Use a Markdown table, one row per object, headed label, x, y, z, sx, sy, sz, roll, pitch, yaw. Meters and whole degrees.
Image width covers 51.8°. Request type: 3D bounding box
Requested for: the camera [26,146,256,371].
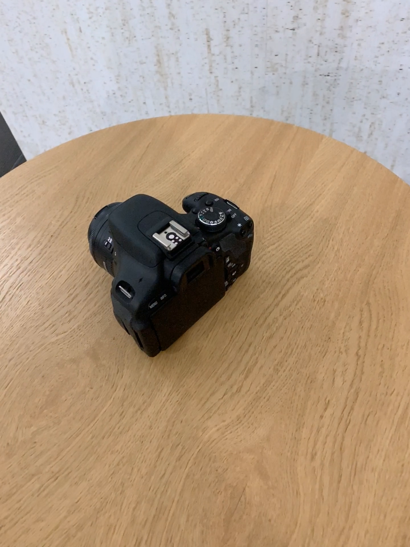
| label | x | y | z | sx | sy | sz | roll | pitch | yaw |
| --- | --- | --- | --- | --- | --- | --- | --- | --- | --- |
| camera | -0.046 | -0.018 | 0.347 | 0.126 | 0.080 | 0.120 | 36 | 64 | 27 |
